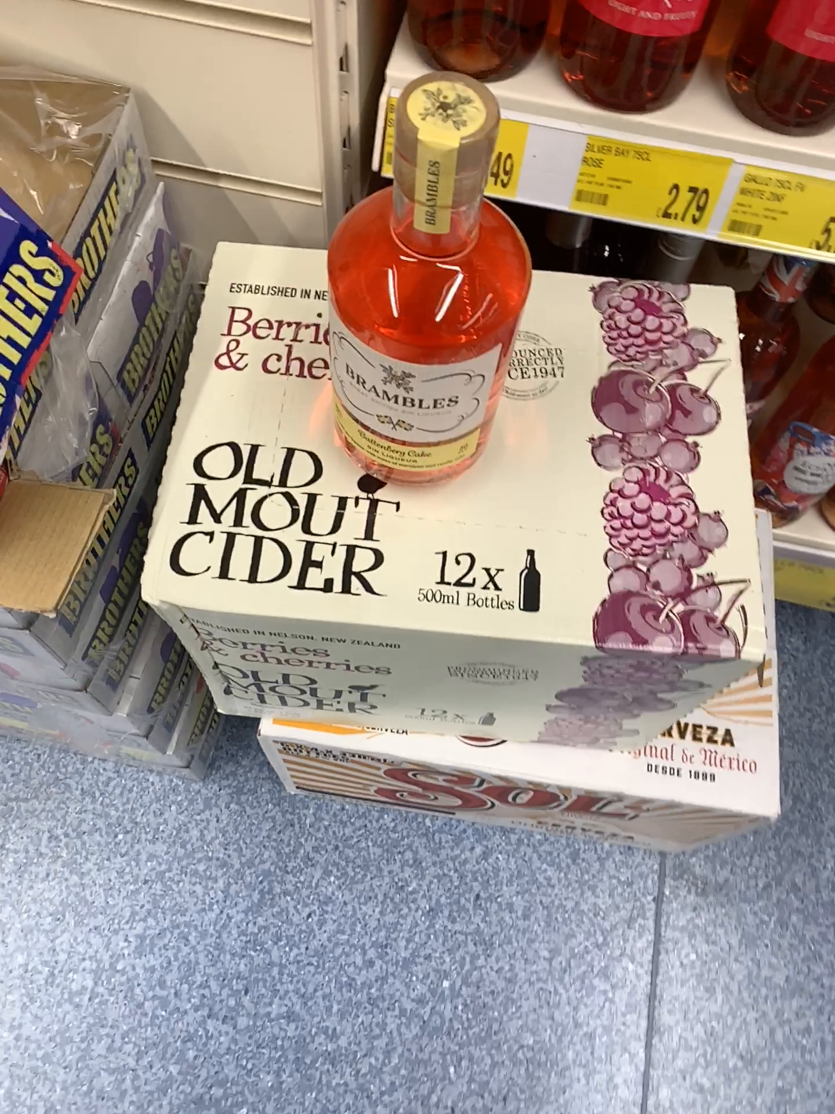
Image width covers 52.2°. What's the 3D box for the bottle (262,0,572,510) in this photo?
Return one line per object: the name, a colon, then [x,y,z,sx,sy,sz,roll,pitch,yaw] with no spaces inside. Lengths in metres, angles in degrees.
bottle: [-0.002,-0.102,0.339,0.077,0.176,0.076,1,65,-2]
